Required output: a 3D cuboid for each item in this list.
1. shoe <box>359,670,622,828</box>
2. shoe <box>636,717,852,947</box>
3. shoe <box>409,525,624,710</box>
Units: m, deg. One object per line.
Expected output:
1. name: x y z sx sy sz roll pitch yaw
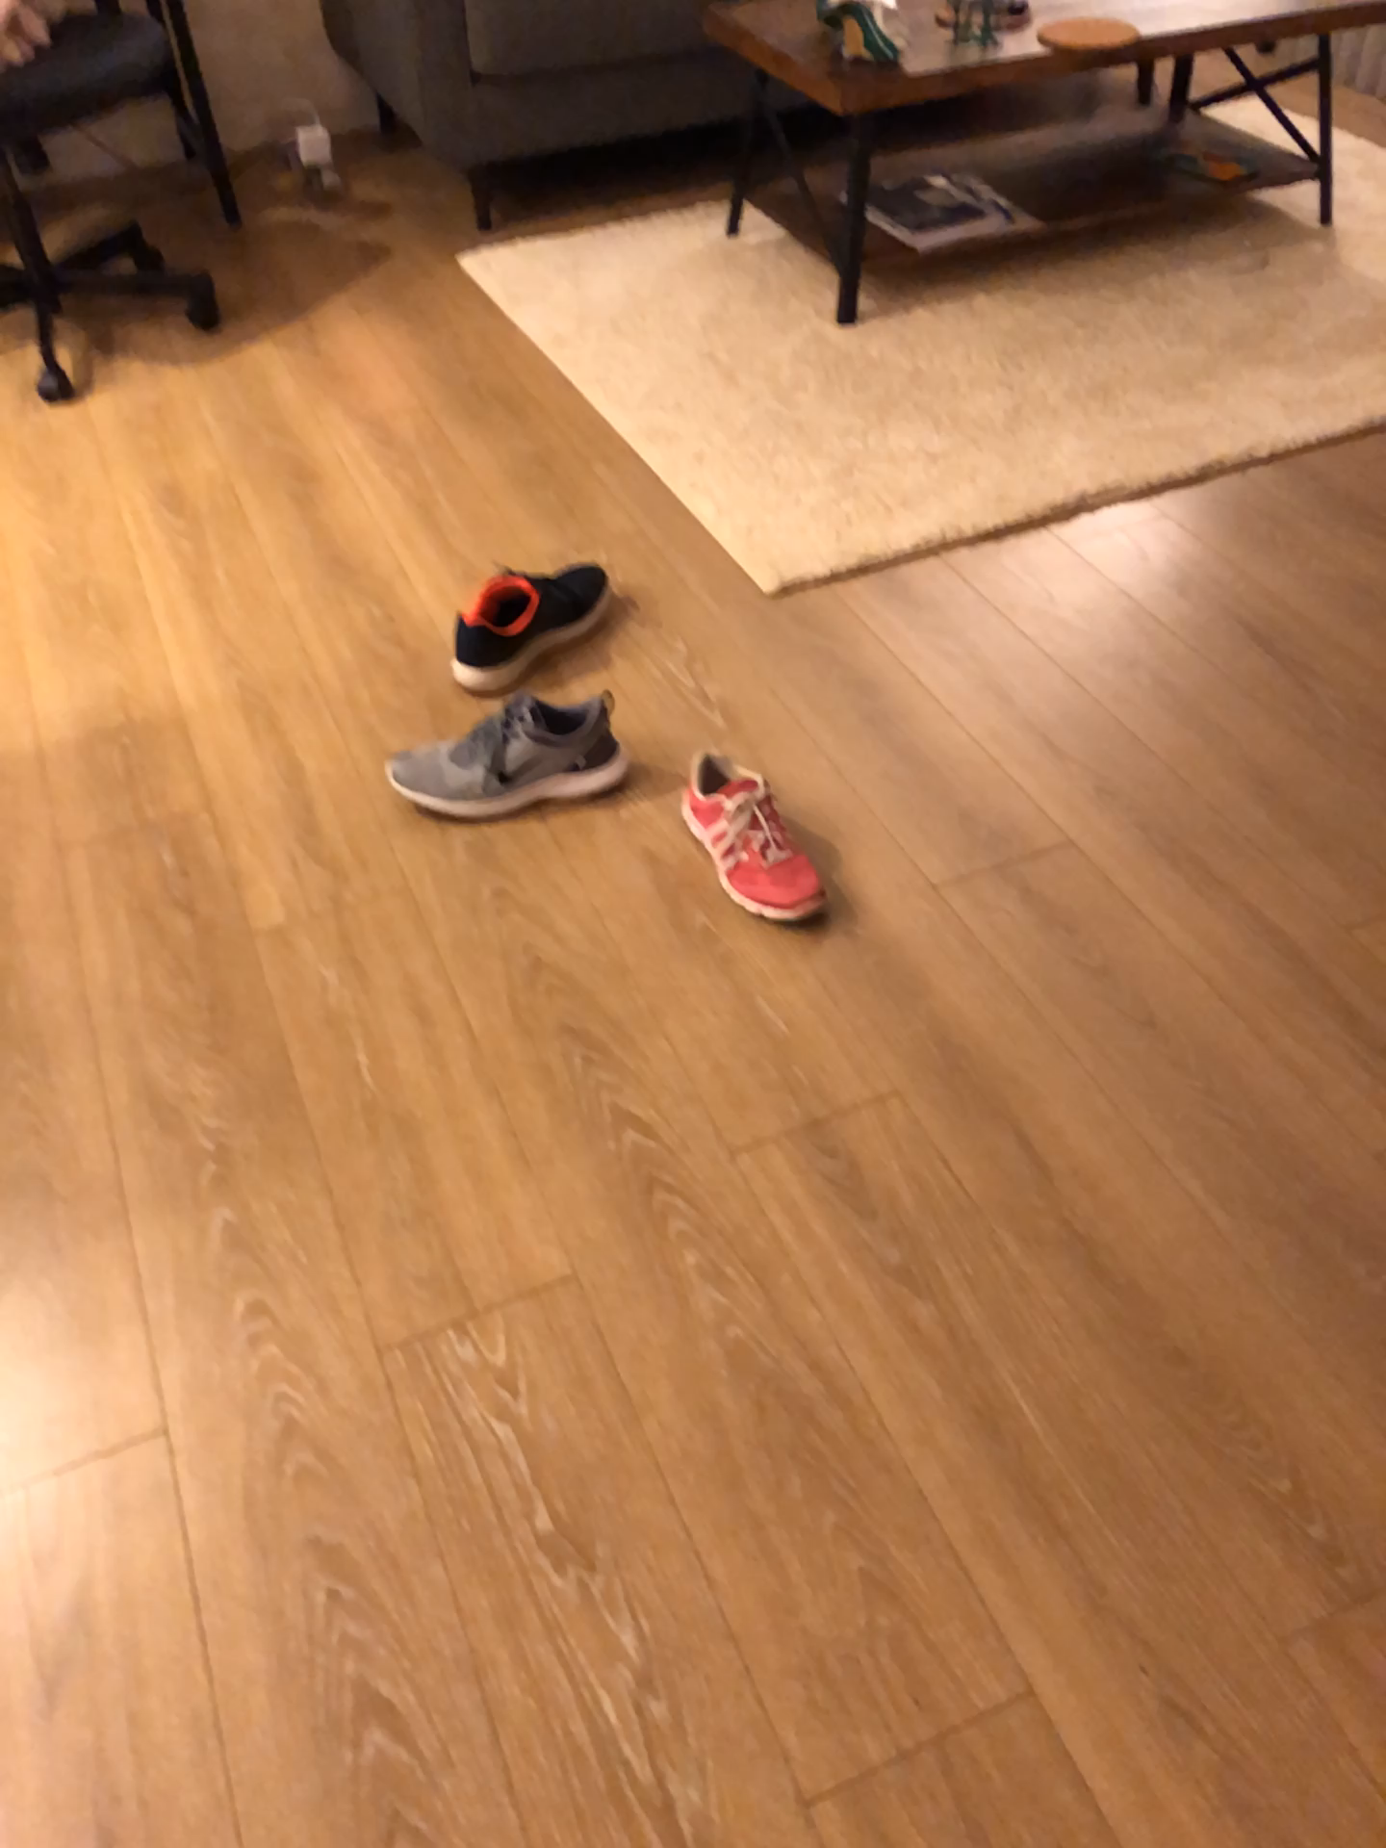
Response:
1. shoe: -0.250 -0.219 1.899 0.306 0.109 0.131 -6 43 -4
2. shoe: 0.055 -0.115 1.794 0.140 0.090 0.281 -19 45 -17
3. shoe: -0.242 -0.437 2.149 0.130 0.099 0.301 24 49 26
